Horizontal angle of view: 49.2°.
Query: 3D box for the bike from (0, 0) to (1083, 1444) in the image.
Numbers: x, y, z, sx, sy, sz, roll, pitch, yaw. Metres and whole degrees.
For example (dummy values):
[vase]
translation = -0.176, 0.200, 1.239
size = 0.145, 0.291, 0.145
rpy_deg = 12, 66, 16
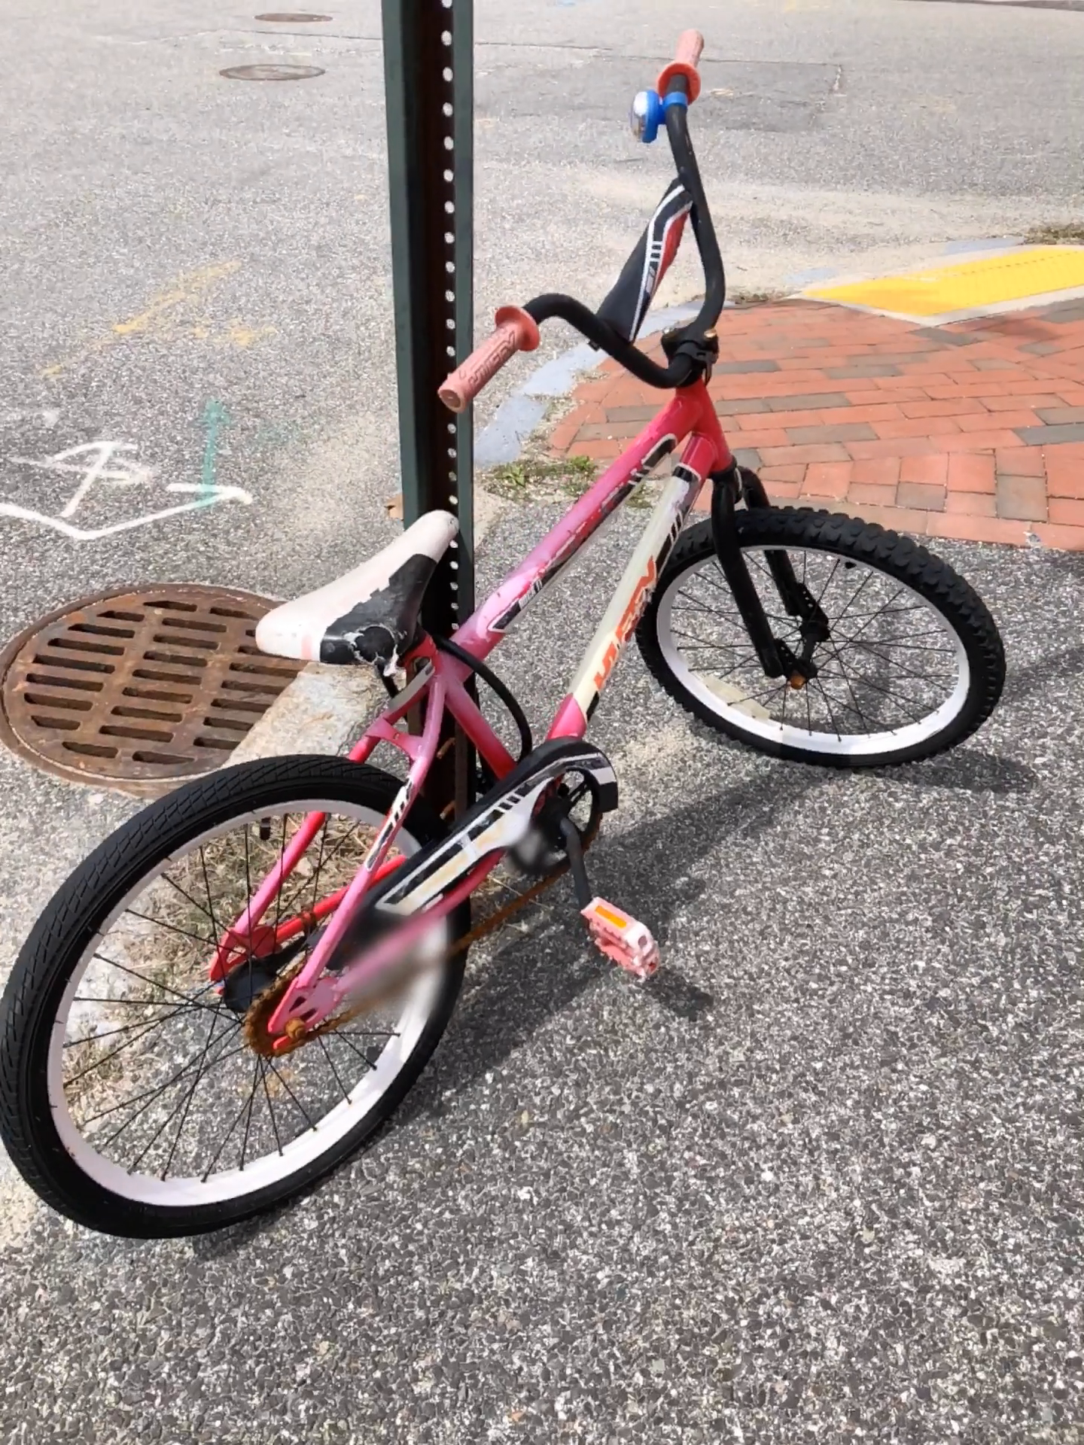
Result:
[bike]
translation = 0.042, -0.081, 1.096
size = 1.180, 0.887, 0.697
rpy_deg = -25, 47, -29
